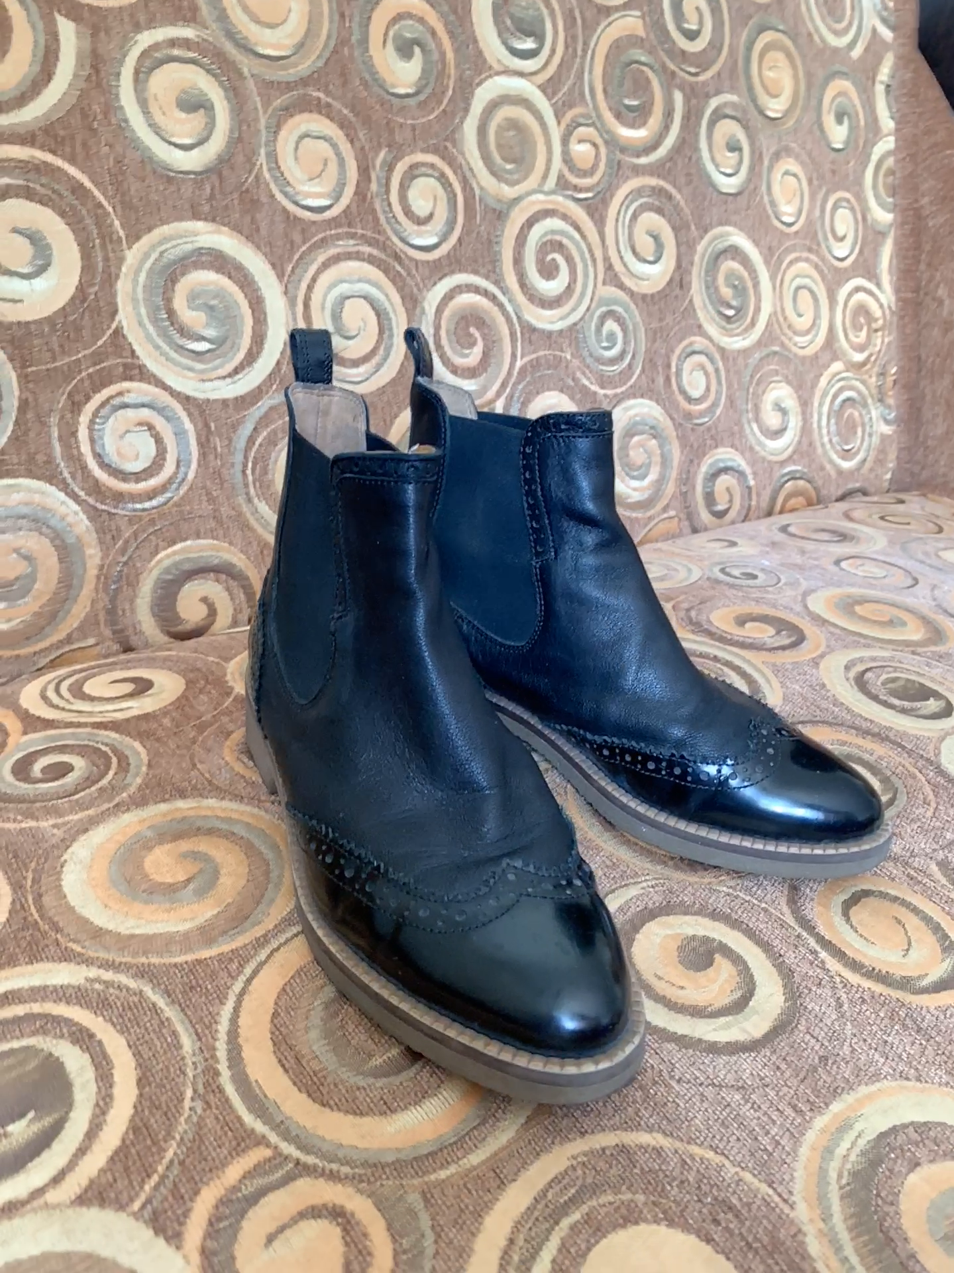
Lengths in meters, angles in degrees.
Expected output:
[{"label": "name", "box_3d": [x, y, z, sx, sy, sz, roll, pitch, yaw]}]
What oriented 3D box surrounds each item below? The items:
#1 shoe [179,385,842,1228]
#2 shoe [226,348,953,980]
[{"label": "shoe", "box_3d": [-0.023, 0.020, 0.321, 0.100, 0.139, 0.241, -7, 31, -24]}, {"label": "shoe", "box_3d": [0.032, -0.013, 0.410, 0.291, 0.139, 0.100, 24, 32, 29]}]
